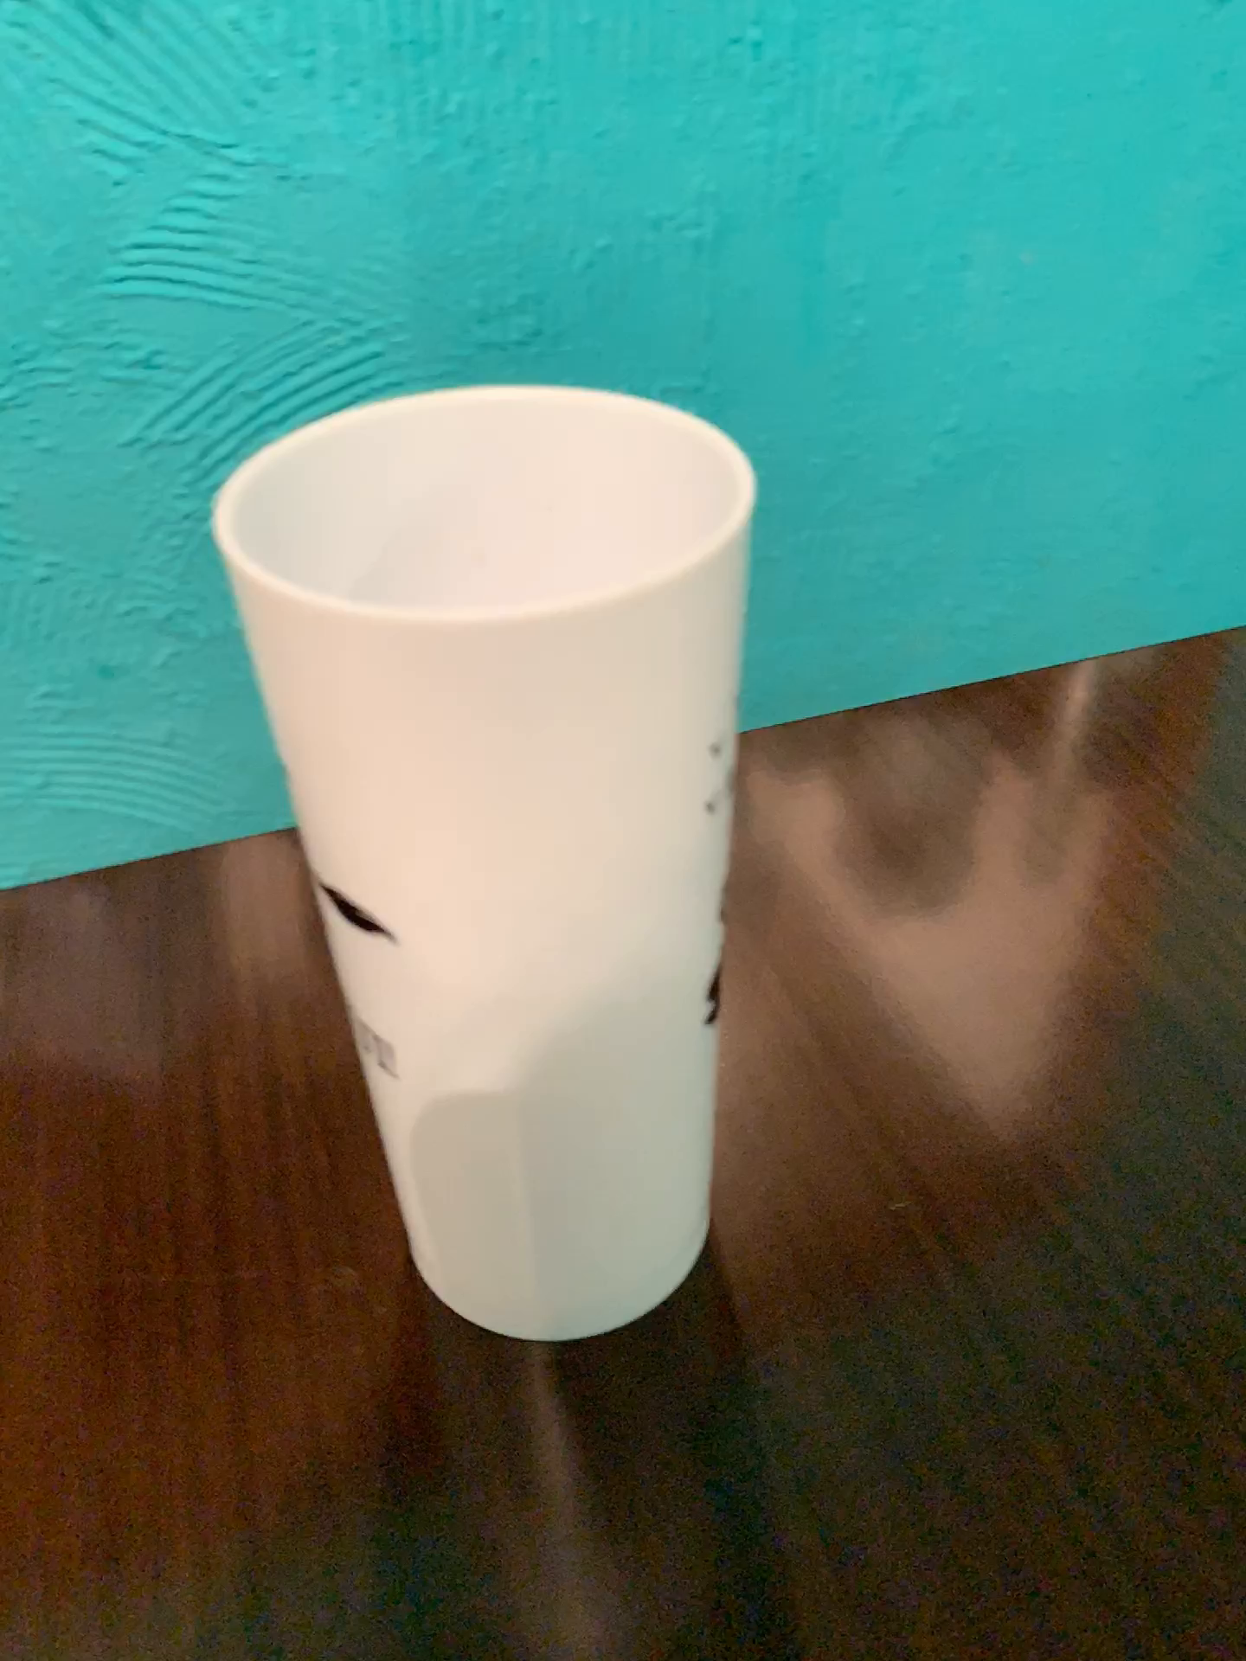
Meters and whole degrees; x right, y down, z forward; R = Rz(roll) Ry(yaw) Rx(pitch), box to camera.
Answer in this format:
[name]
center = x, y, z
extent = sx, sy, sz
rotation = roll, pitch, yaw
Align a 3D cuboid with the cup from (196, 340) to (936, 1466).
[cup]
center = -0.010, 0.017, 0.195
extent = 0.070, 0.149, 0.070
rotation = -1, 39, 1
